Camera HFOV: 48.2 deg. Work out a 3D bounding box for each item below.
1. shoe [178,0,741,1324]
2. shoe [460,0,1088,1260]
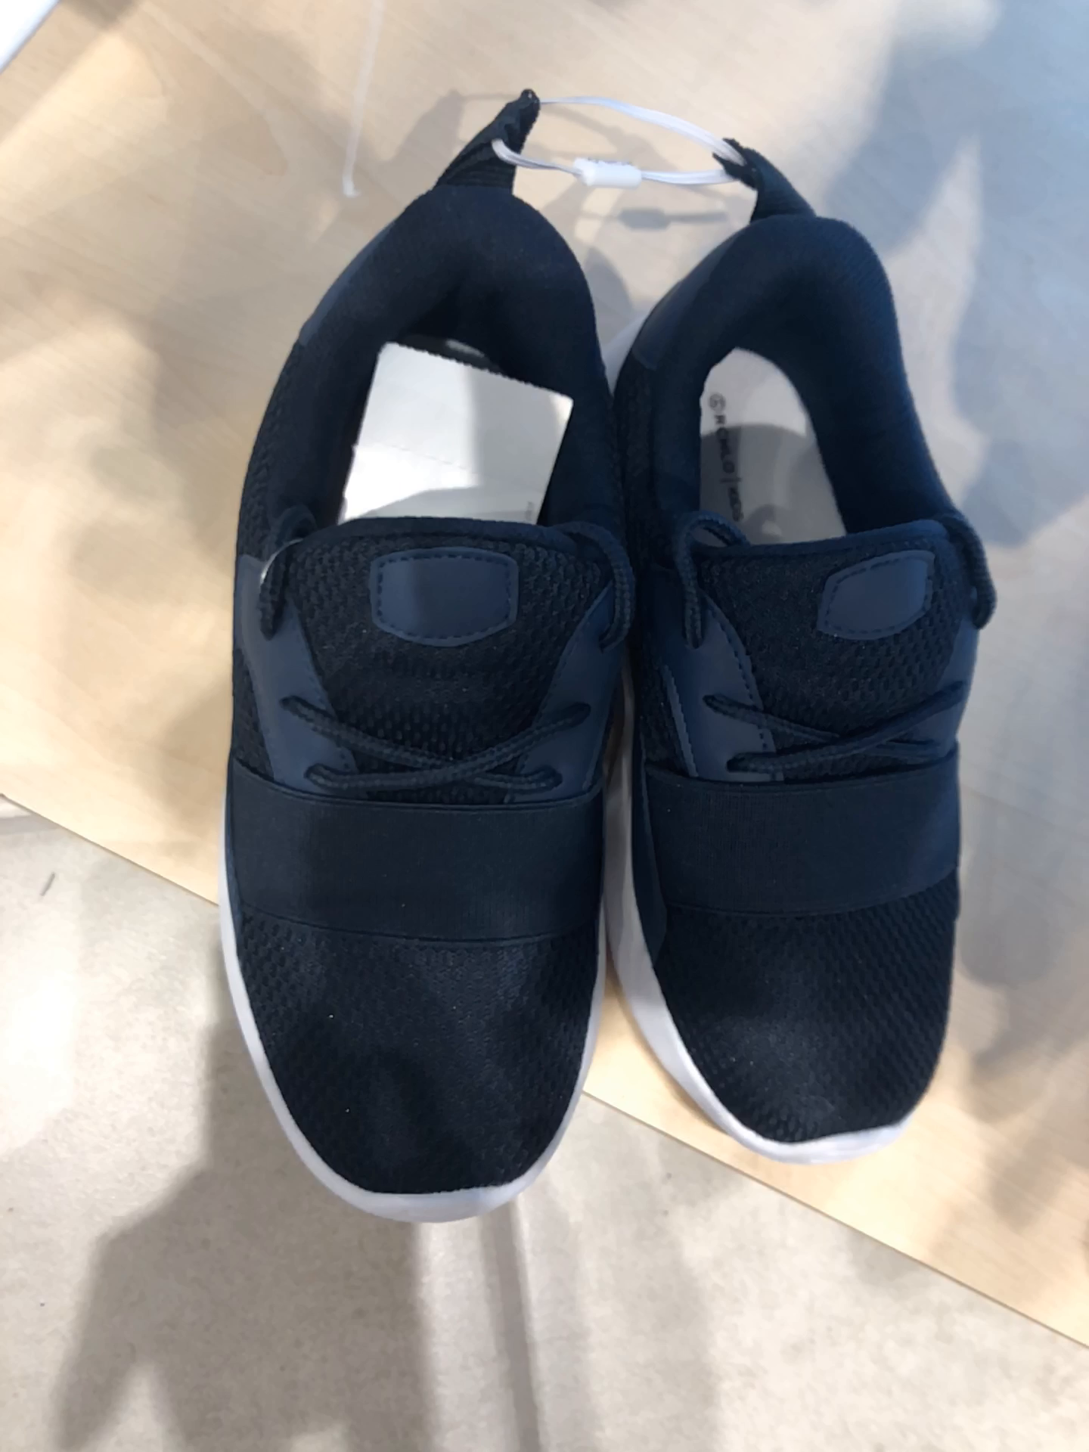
[{"bbox_3d":[-0.023,-0.014,0.268,0.090,0.100,0.240,2,77,-12],"label":"shoe"},{"bbox_3d":[0.051,-0.024,0.280,0.100,0.100,0.240,-5,78,-13],"label":"shoe"}]
